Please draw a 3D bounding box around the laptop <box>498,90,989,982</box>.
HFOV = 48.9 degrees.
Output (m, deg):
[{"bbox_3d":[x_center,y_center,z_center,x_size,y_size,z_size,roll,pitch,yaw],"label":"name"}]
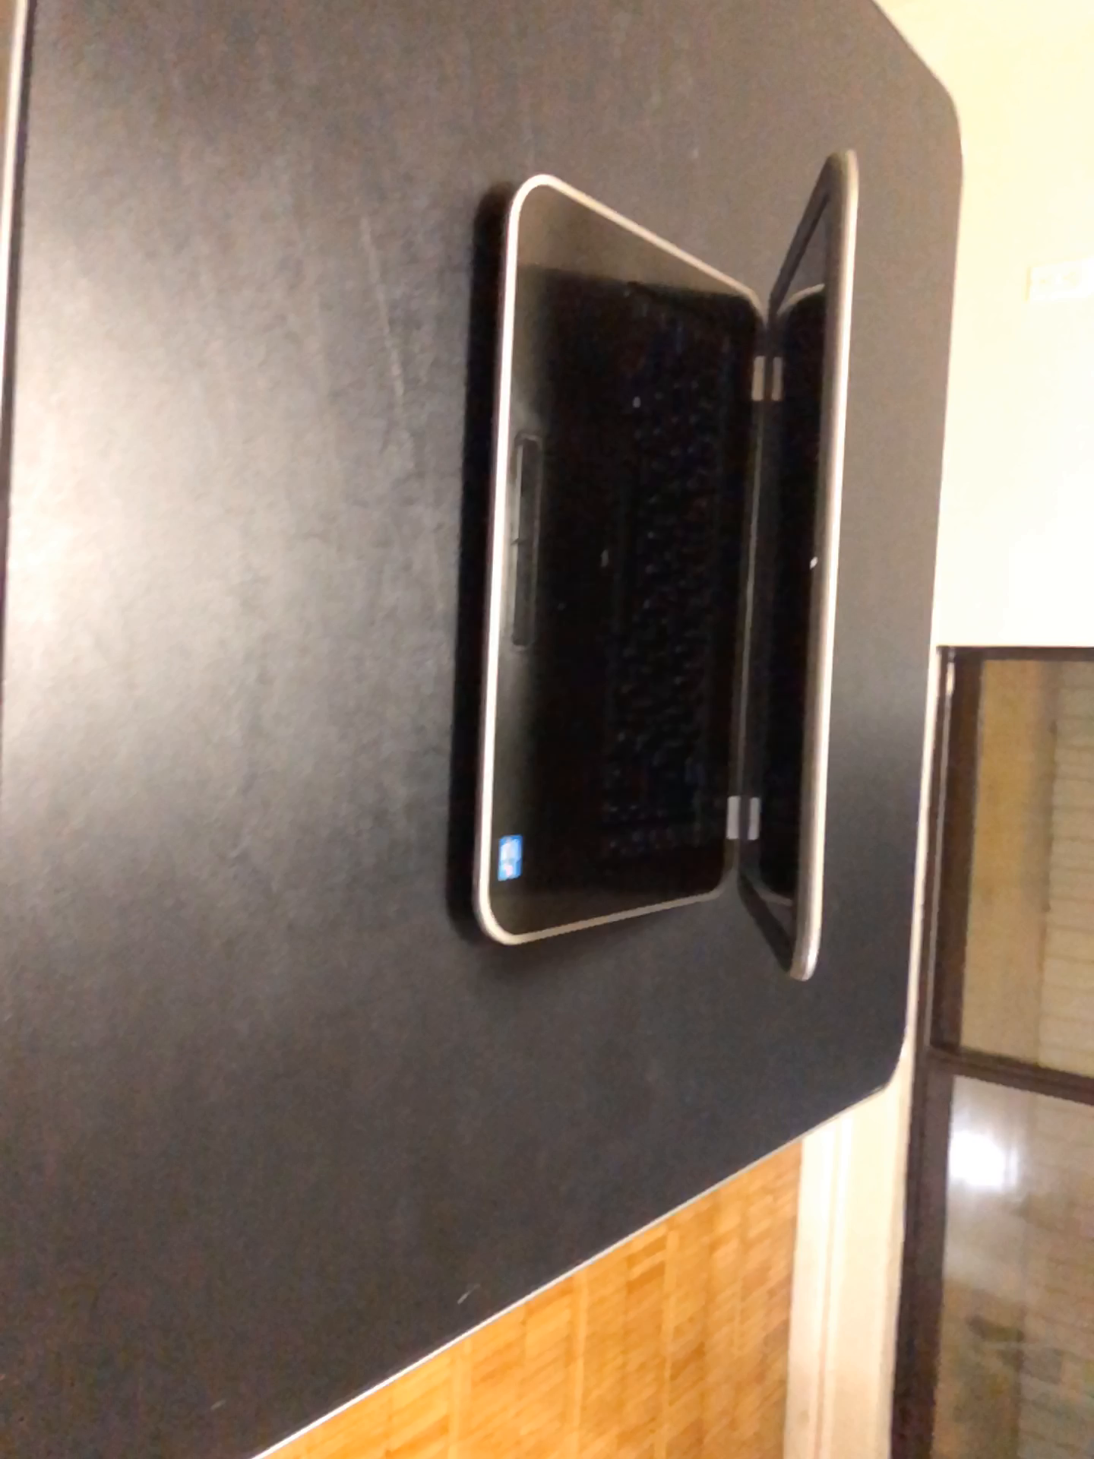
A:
[{"bbox_3d":[0.111,-0.082,0.621,0.241,0.137,0.356,-2,96,-53],"label":"laptop"}]
